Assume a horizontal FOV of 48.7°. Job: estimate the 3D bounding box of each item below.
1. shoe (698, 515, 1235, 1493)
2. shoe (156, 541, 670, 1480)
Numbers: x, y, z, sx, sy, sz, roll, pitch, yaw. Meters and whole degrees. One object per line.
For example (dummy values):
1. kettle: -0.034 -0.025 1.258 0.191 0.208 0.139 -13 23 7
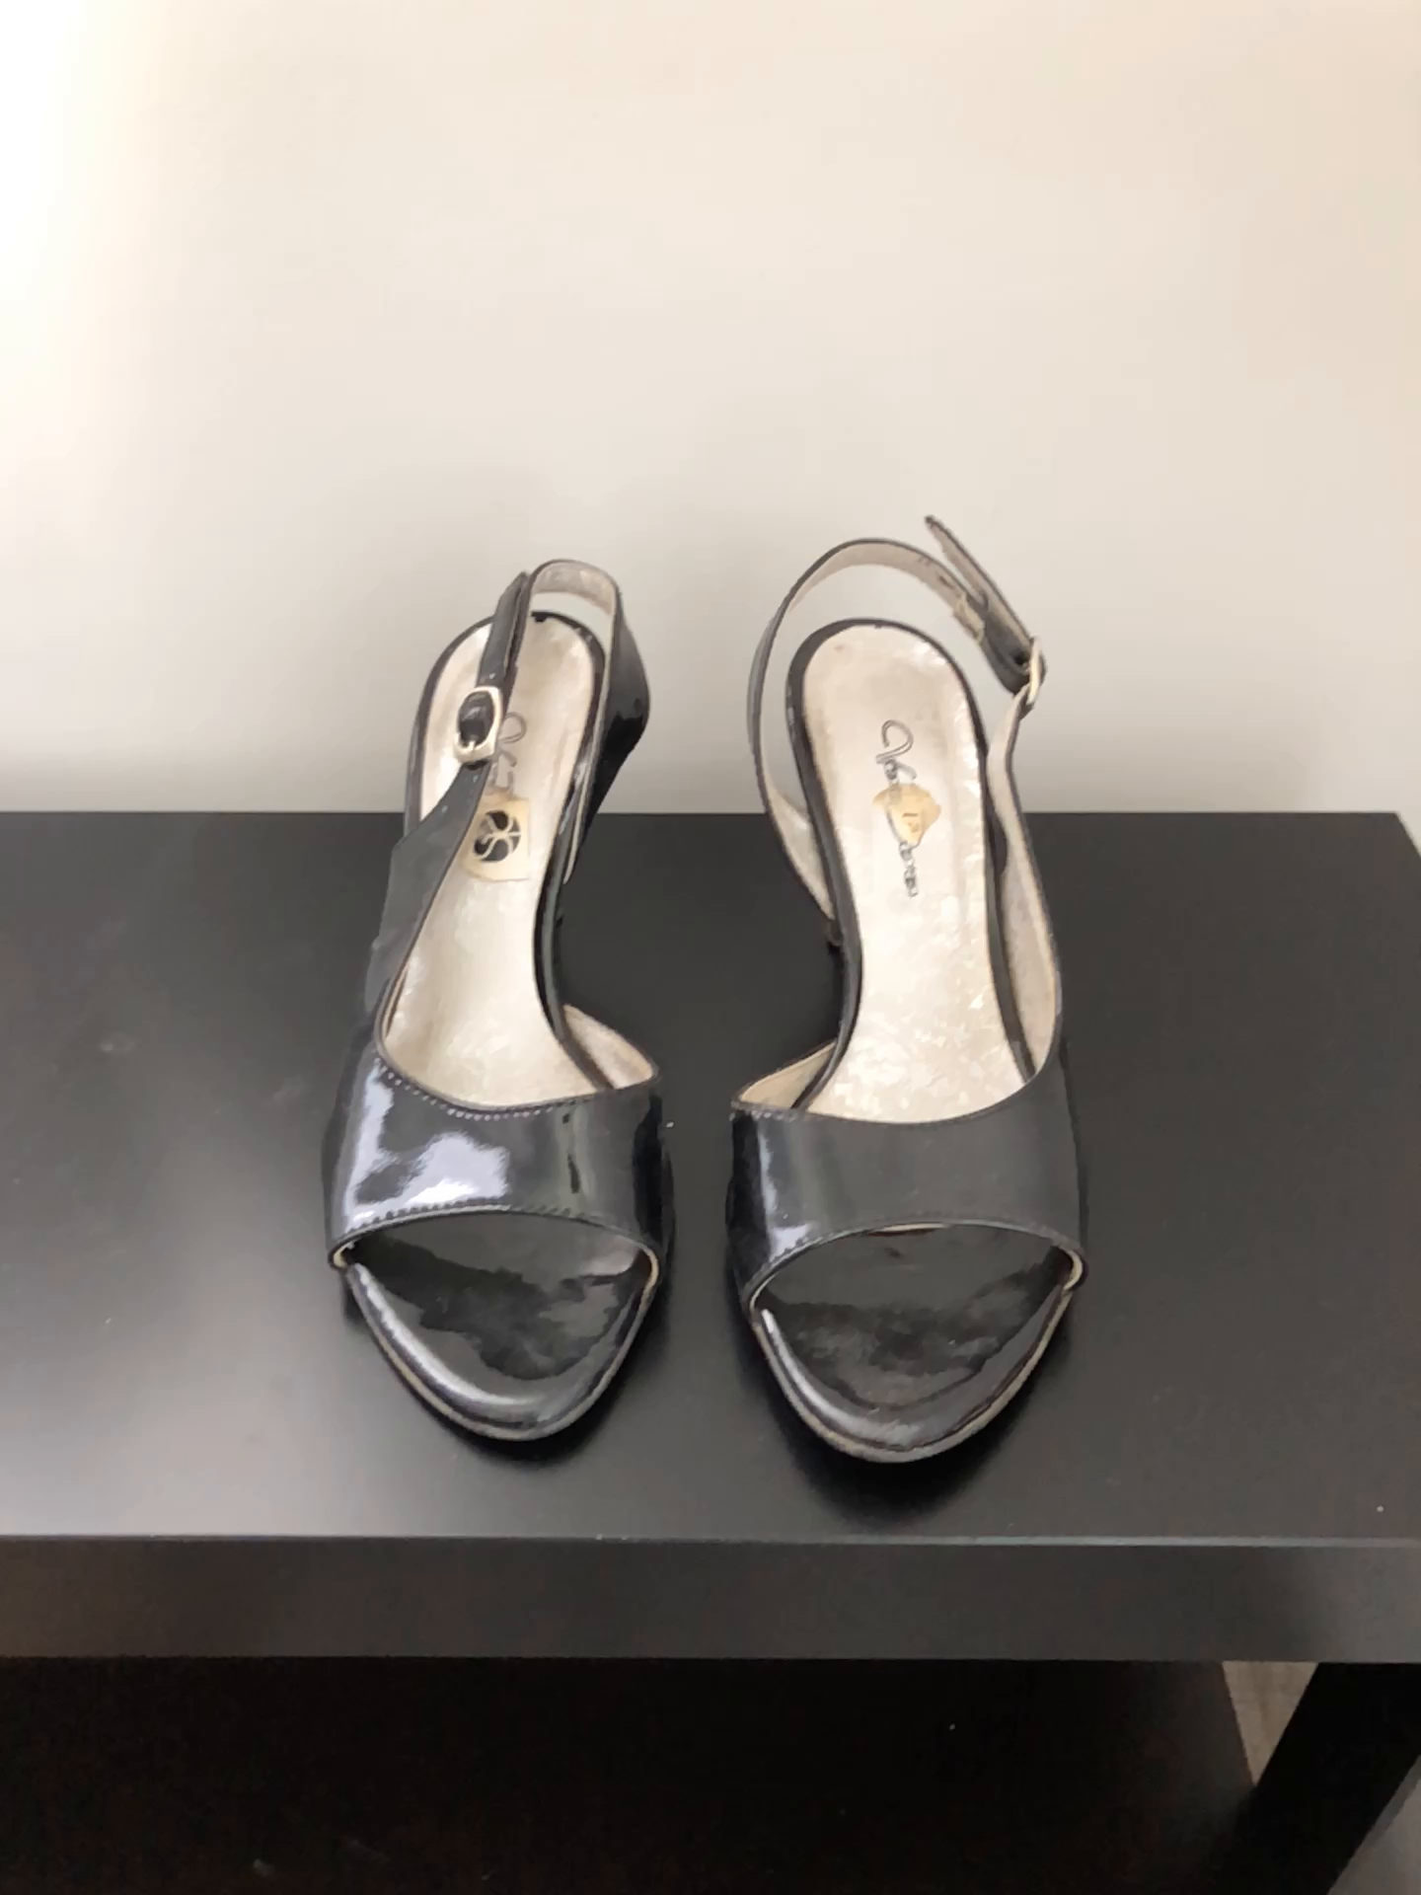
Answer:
1. shoe: 0.045 -0.002 0.361 0.083 0.110 0.211 2 40 2
2. shoe: -0.056 0.001 0.376 0.083 0.110 0.211 -2 40 -3
